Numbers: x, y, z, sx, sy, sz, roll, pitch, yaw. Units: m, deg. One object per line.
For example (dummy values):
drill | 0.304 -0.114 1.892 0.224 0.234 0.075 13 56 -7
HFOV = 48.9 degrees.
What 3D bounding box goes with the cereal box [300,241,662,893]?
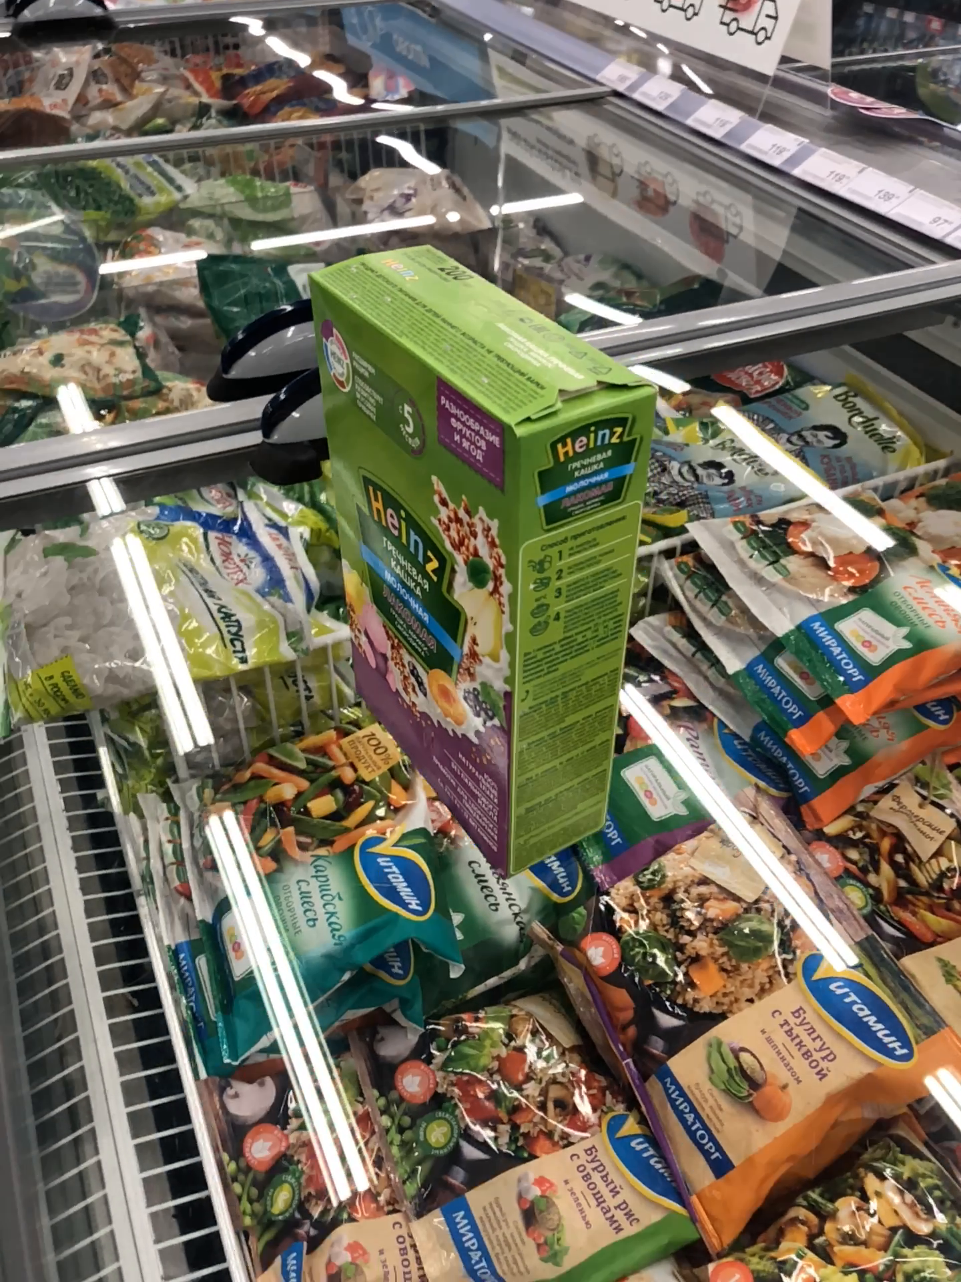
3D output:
cereal box | -0.006 -0.024 0.393 0.050 0.199 0.131 -22 45 -25
